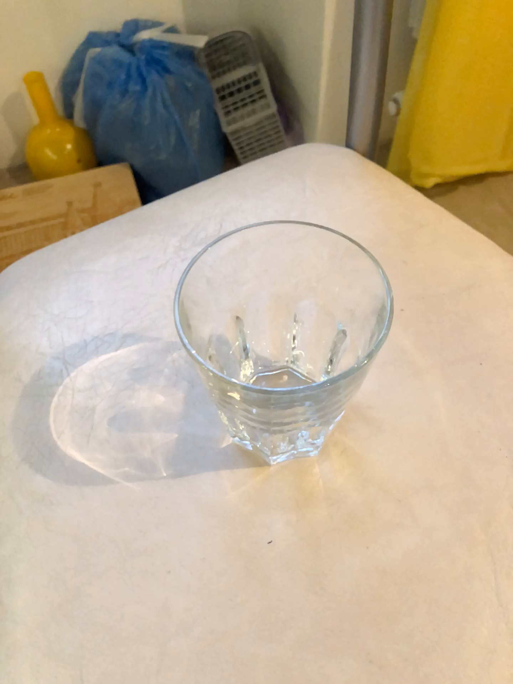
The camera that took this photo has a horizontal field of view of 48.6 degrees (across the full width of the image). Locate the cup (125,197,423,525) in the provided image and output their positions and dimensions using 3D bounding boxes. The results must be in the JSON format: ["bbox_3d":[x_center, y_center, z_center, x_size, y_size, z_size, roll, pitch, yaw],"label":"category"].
[{"bbox_3d":[0.006,0.012,0.253,0.080,0.099,0.080,-1,57,1],"label":"cup"}]
